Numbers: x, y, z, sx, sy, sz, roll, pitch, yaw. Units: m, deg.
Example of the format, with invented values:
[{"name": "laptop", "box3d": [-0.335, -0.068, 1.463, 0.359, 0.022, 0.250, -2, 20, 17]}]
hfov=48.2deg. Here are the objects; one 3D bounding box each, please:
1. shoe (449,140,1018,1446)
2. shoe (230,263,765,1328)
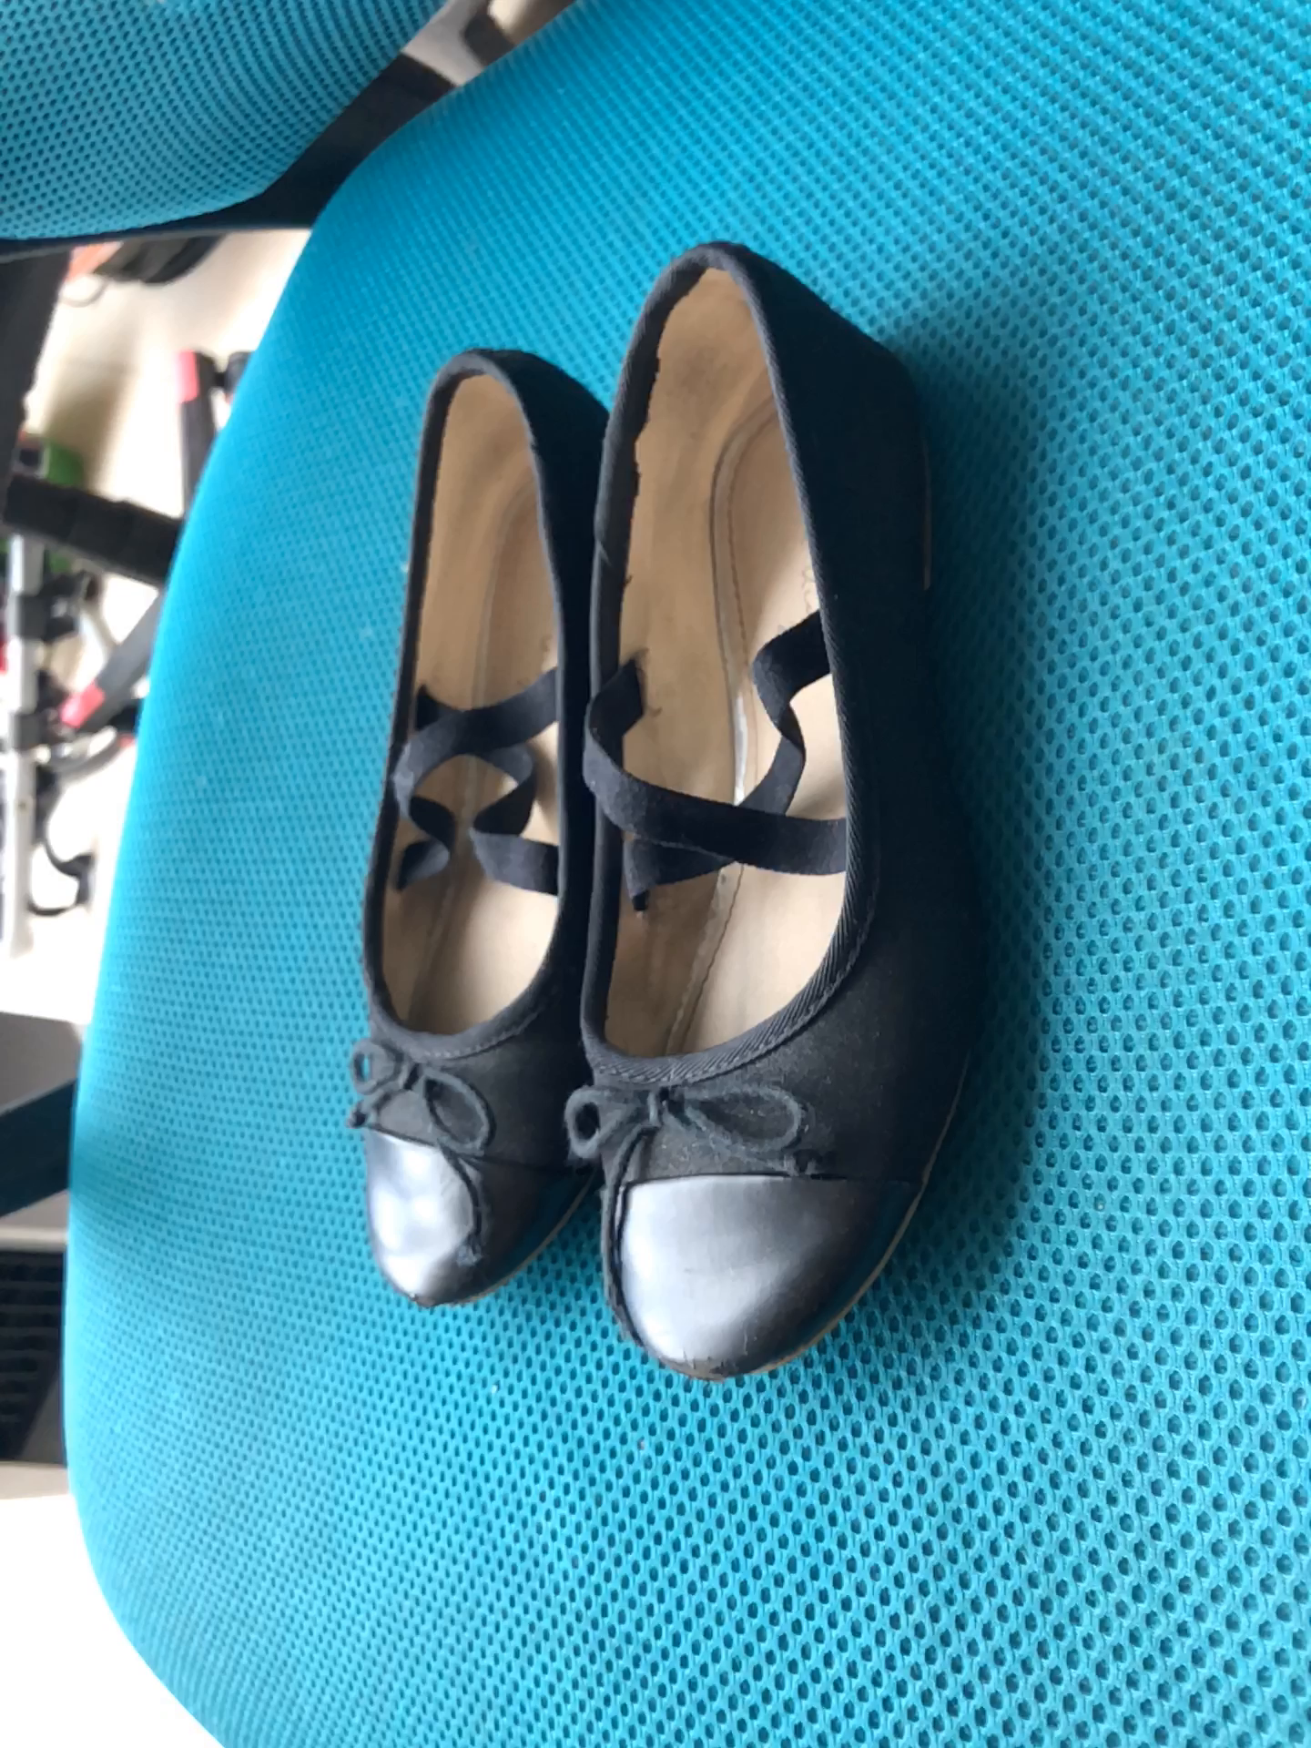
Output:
[{"name": "shoe", "box3d": [0.016, -0.012, 0.247, 0.069, 0.050, 0.190, -8, 73, 45]}, {"name": "shoe", "box3d": [-0.032, -0.013, 0.304, 0.081, 0.050, 0.194, -5, 75, 45]}]
